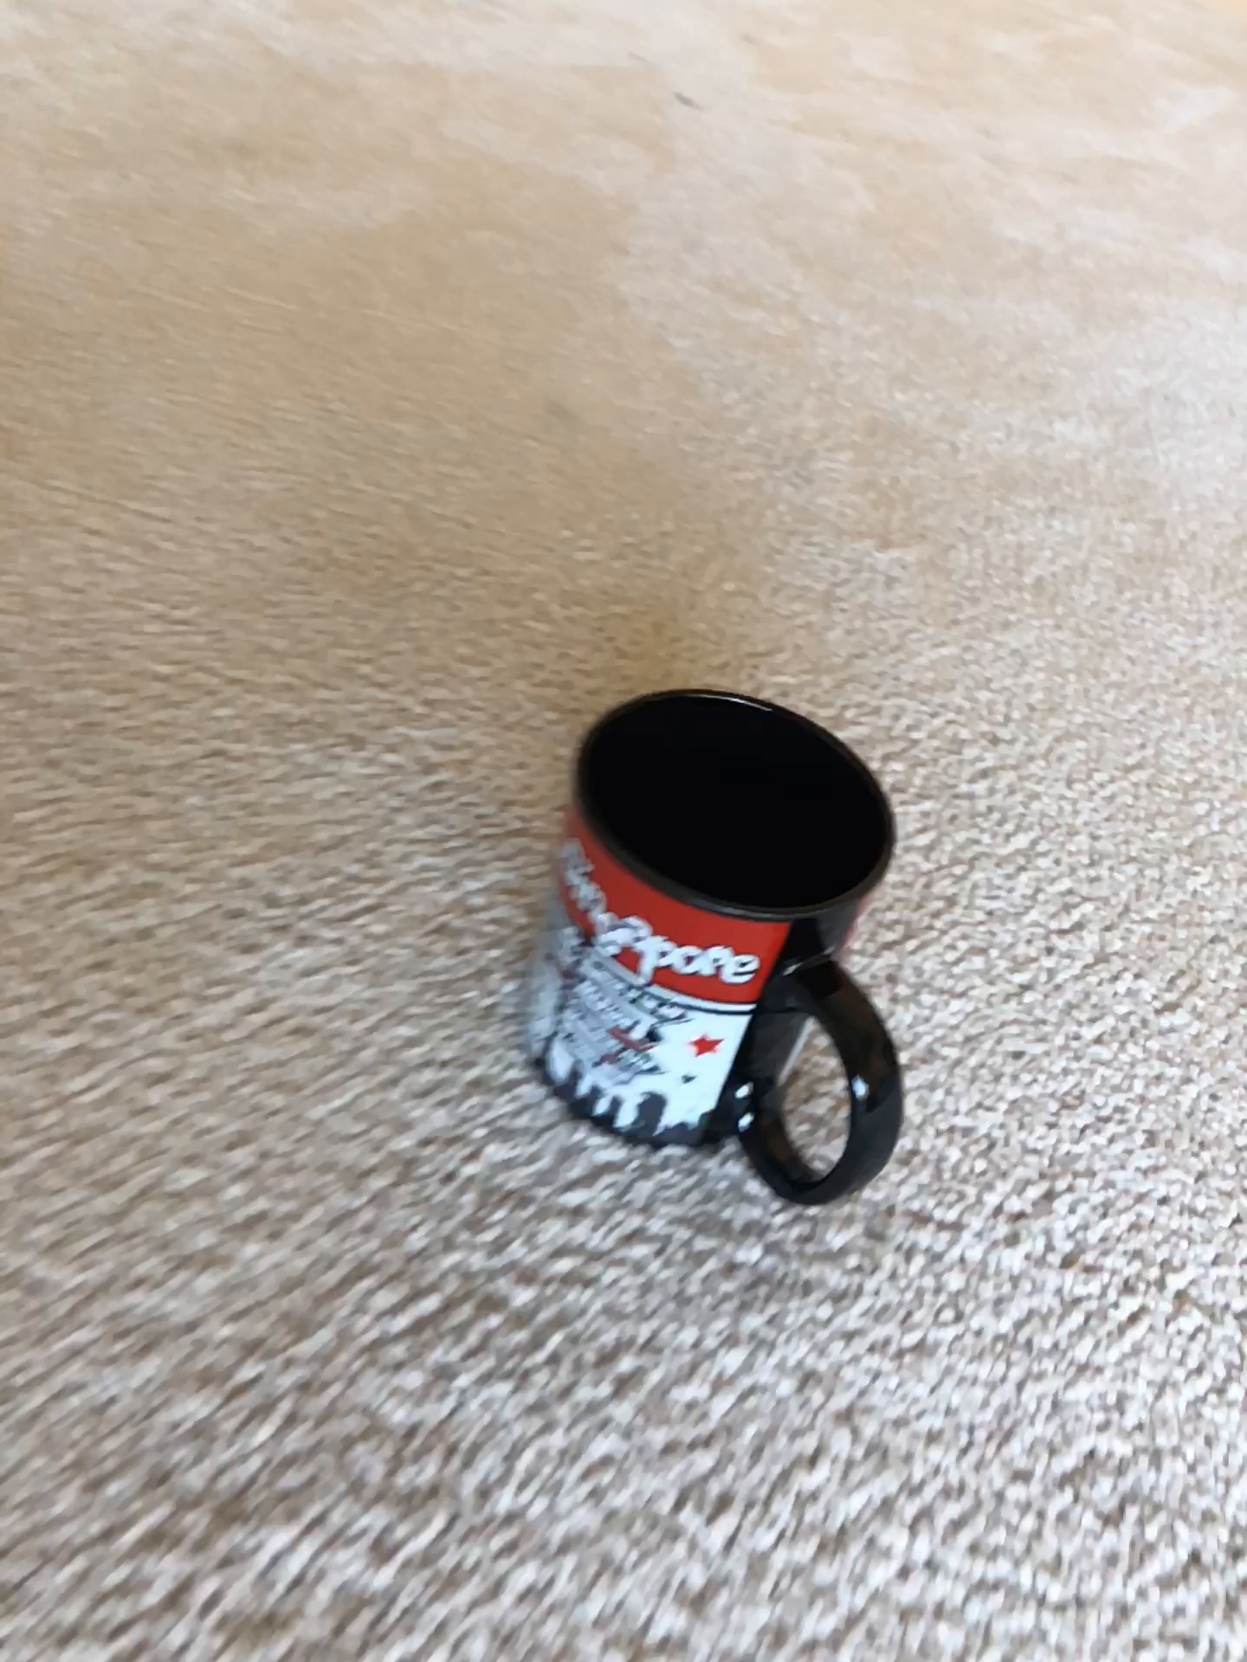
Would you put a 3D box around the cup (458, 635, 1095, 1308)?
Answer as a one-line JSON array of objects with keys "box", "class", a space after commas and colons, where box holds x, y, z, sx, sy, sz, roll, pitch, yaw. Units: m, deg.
[{"box": [0.028, 0.029, 0.357, 0.090, 0.090, 0.130, -10, 47, -26], "class": "cup"}]
